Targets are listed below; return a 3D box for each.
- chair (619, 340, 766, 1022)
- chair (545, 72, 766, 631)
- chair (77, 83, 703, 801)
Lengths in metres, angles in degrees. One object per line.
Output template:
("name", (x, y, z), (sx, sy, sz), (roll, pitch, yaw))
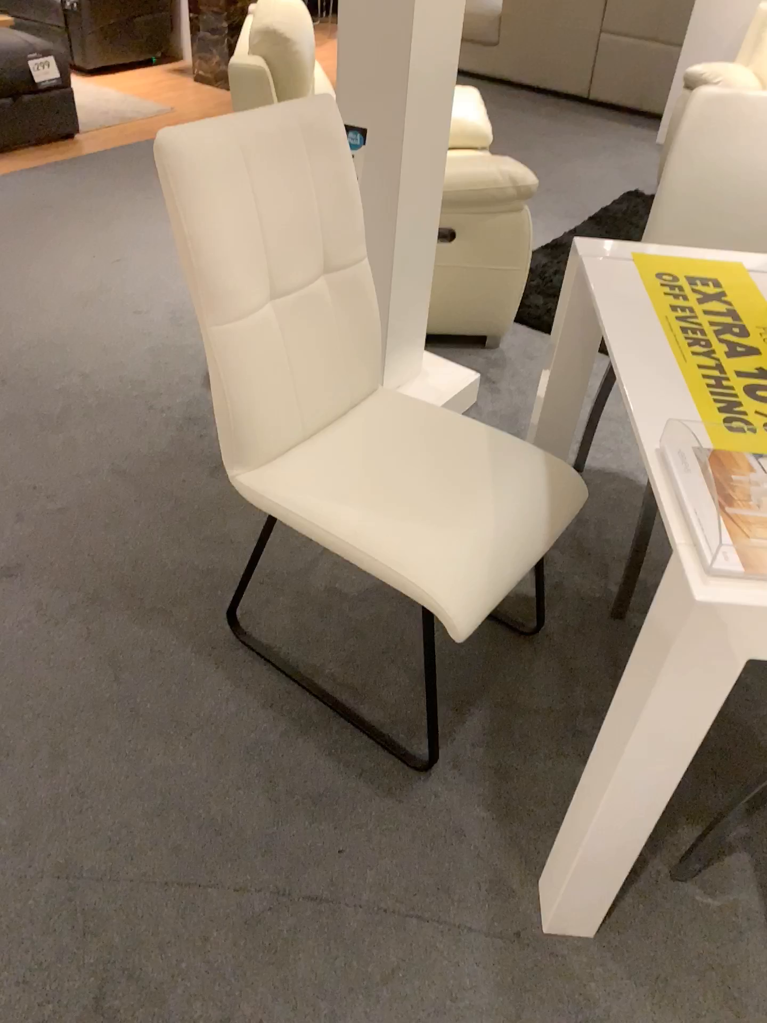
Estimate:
("chair", (0.644, 0.418, 0.715), (0.550, 0.881, 0.606), (8, 40, 2))
("chair", (0.741, -0.308, 1.610), (0.520, 0.901, 0.646), (2, 40, -4))
("chair", (-0.006, -0.127, 1.313), (0.632, 0.881, 0.544), (28, 45, 24))
